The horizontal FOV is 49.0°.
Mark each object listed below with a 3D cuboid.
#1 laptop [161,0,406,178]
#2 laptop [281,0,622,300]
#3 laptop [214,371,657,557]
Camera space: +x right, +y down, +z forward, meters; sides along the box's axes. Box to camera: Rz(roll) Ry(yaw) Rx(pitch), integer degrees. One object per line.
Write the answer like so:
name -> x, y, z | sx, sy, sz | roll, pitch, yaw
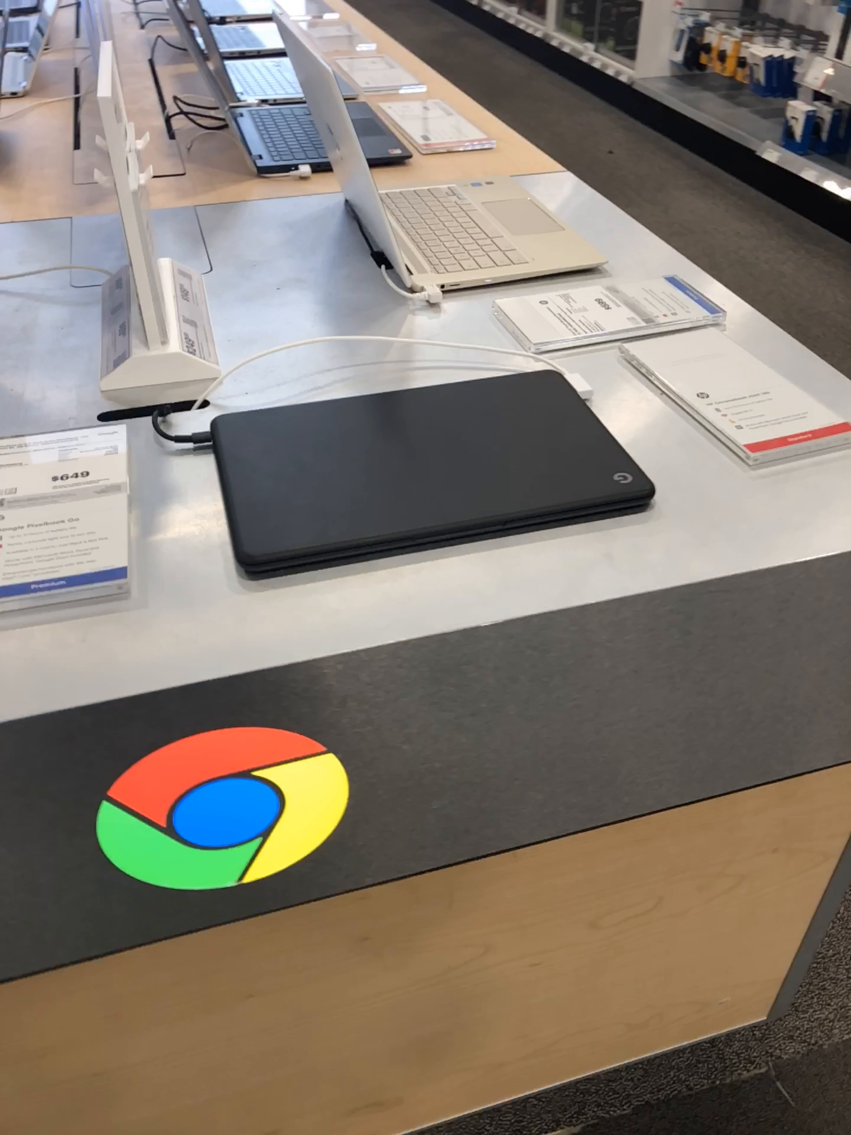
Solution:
laptop -> -0.206, -0.720, 1.336 | 0.287, 0.189, 0.307 | -11, 41, -12
laptop -> 0.012, -0.474, 1.028 | 0.274, 0.205, 0.304 | -12, 40, -13
laptop -> -0.002, -0.090, 0.710 | 0.296, 0.001, 0.195 | -10, 39, -13
